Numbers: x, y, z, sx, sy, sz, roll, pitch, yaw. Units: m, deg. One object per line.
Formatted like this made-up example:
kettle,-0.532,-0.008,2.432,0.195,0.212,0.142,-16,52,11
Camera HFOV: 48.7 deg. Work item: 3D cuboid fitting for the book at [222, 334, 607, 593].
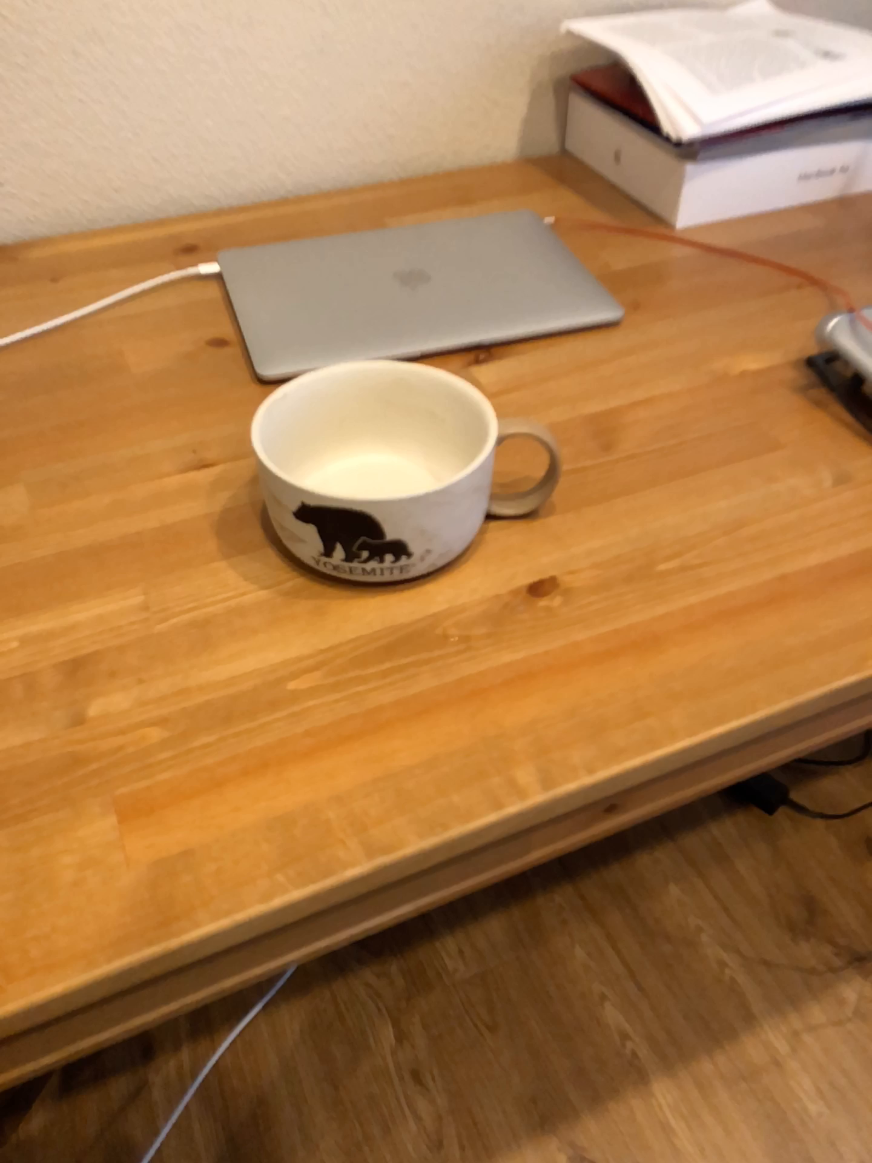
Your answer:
book,-0.012,-0.070,0.550,0.190,0.080,0.131,-2,43,-1
